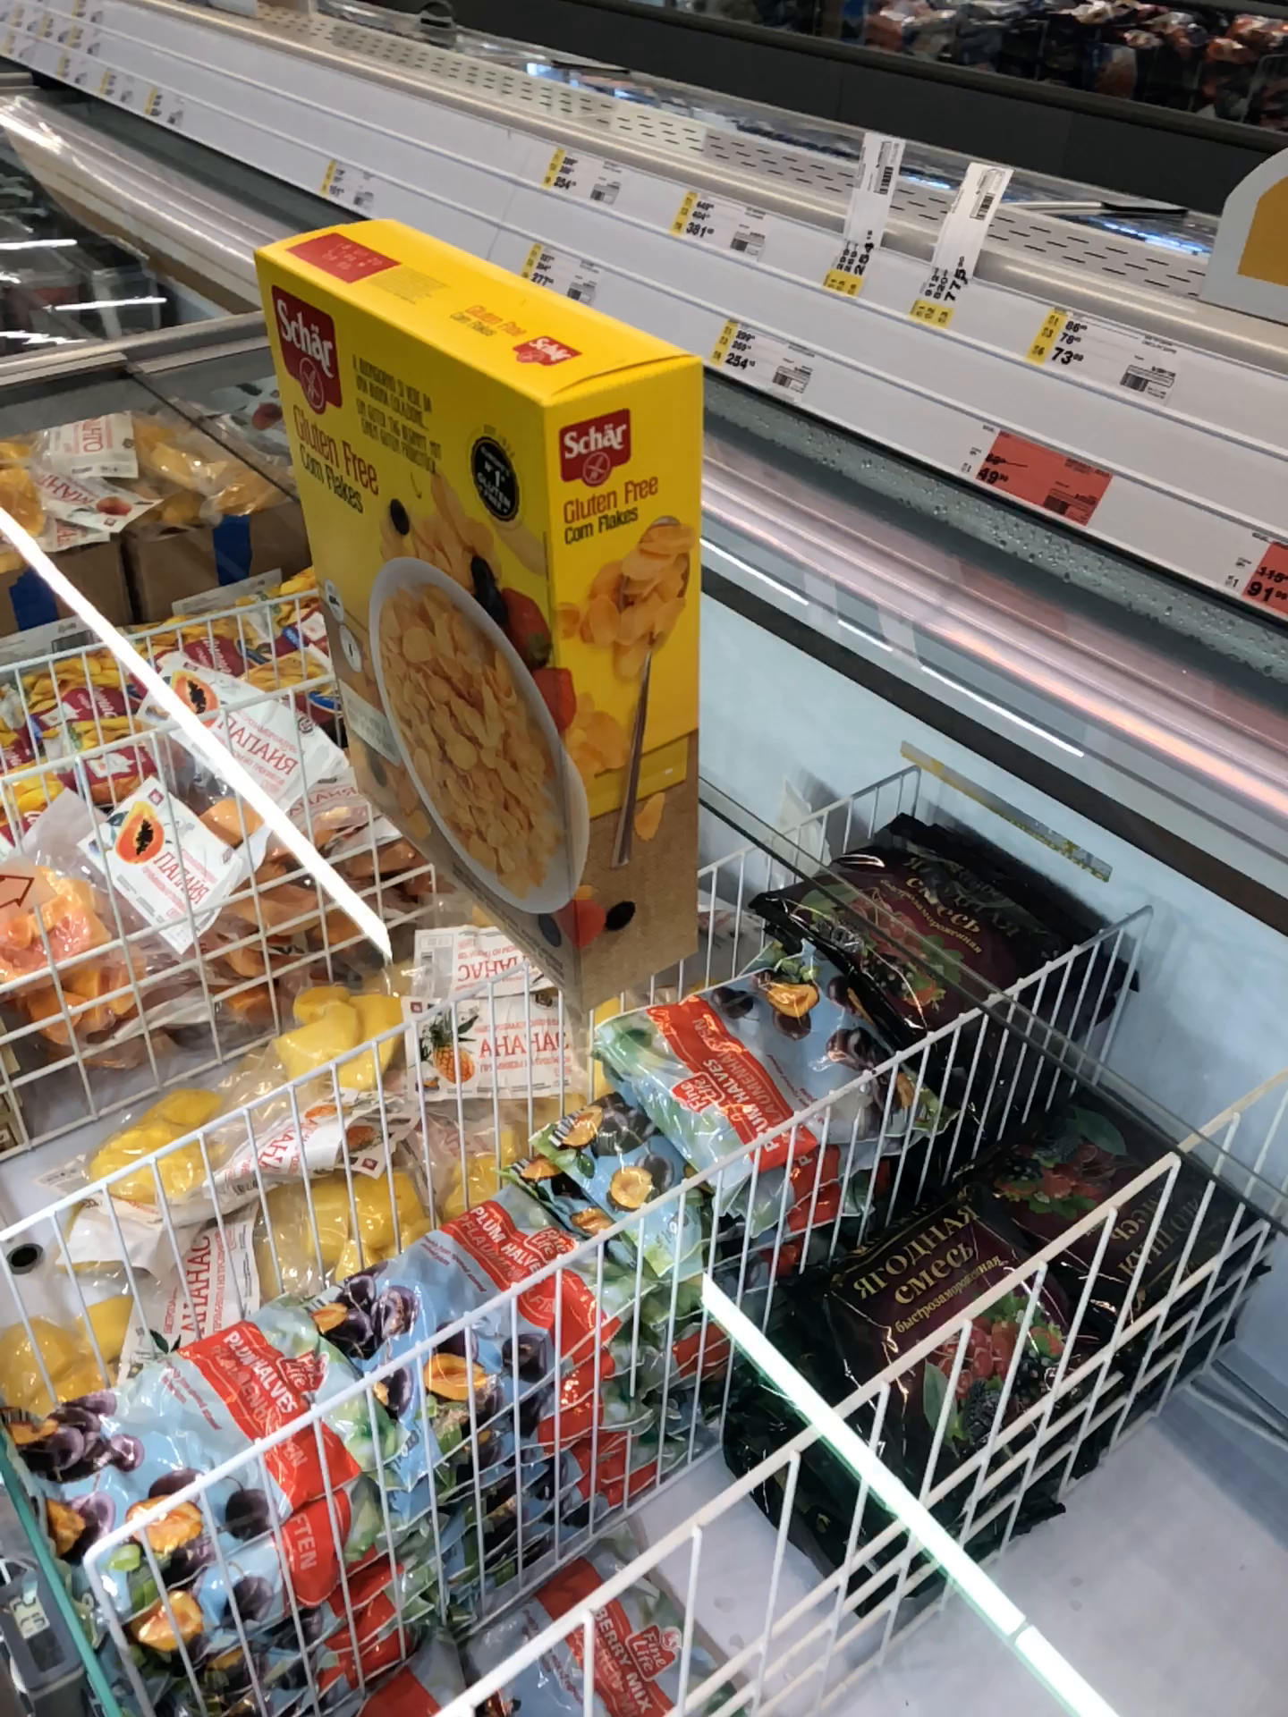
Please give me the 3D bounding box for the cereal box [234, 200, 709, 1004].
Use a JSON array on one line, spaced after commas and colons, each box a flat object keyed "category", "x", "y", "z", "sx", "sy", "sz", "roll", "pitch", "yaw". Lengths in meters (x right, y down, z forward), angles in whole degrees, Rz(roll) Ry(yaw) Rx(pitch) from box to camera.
[{"category": "cereal box", "x": -0.063, "y": -0.099, "z": 0.540, "sx": 0.060, "sy": 0.238, "sz": 0.201, "roll": -26, "pitch": 45, "yaw": -27}]
